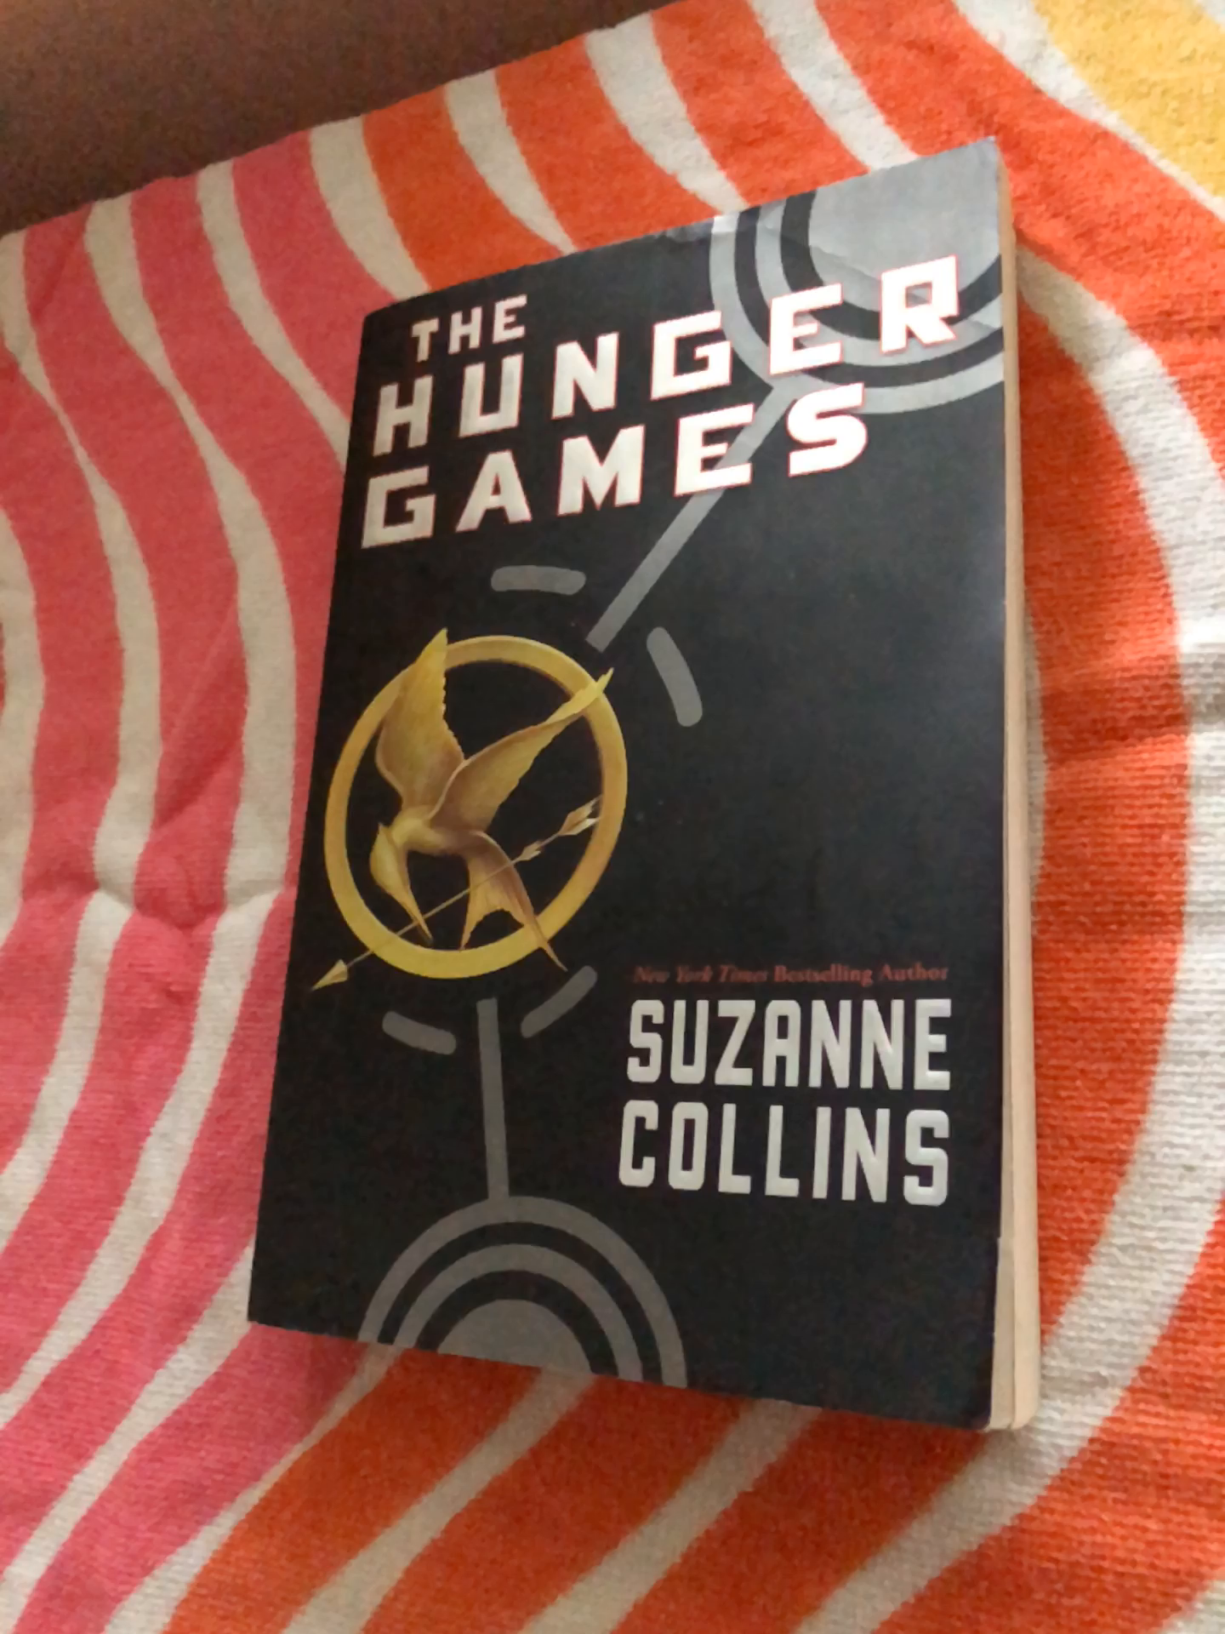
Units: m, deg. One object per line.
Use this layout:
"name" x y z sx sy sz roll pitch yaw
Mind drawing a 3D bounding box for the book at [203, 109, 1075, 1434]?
"book" 0.006 -0.011 0.244 0.138 0.037 0.200 -3 74 26
